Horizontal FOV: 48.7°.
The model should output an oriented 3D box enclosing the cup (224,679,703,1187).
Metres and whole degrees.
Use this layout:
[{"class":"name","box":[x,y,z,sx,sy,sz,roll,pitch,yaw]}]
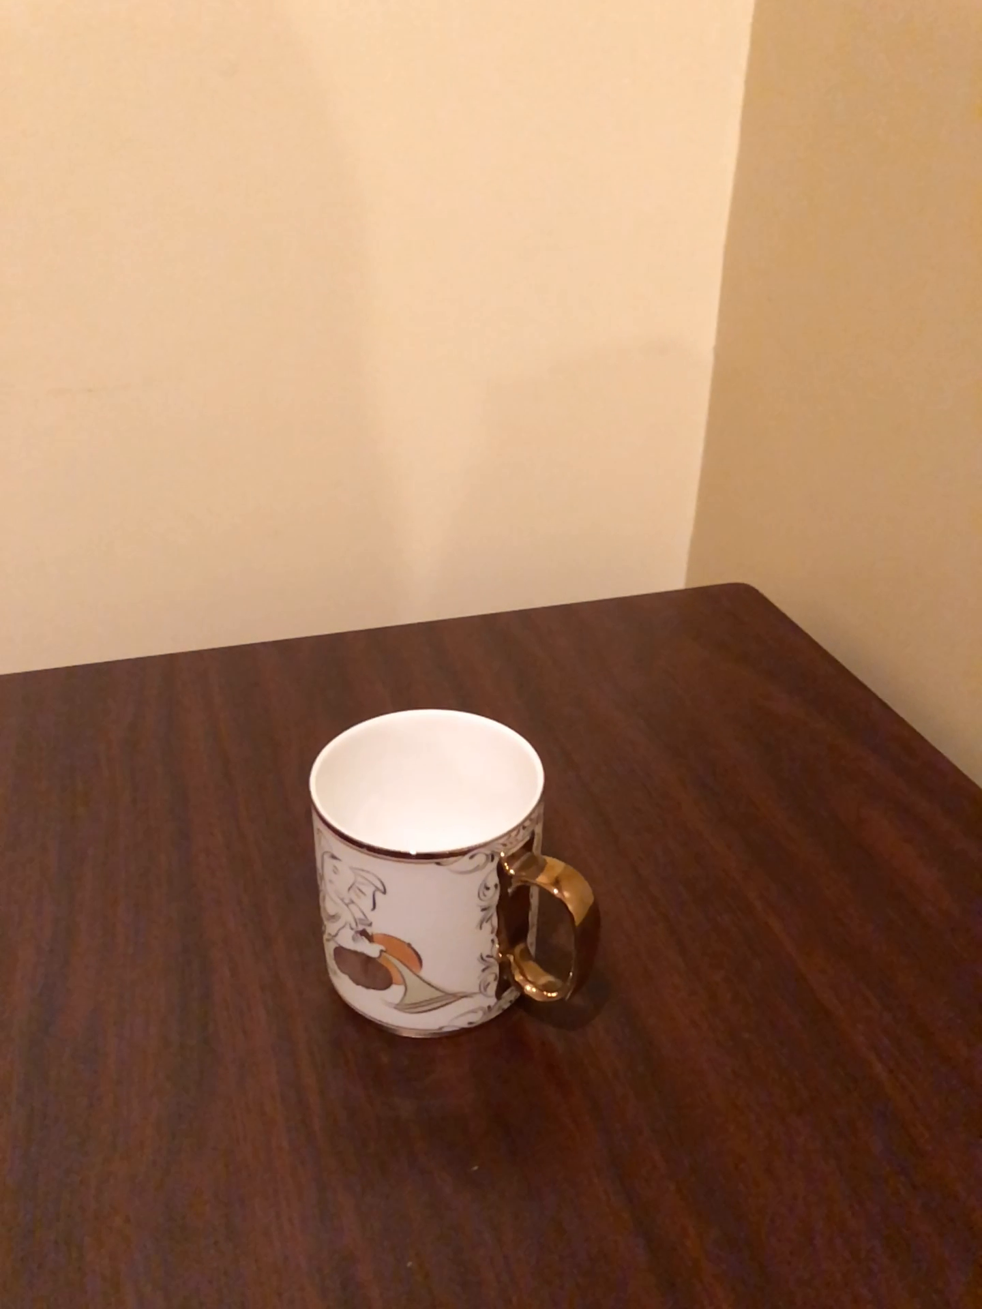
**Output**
[{"class":"cup","box":[-0.011,0.096,0.414,0.140,0.100,0.100,22,35,31]}]
